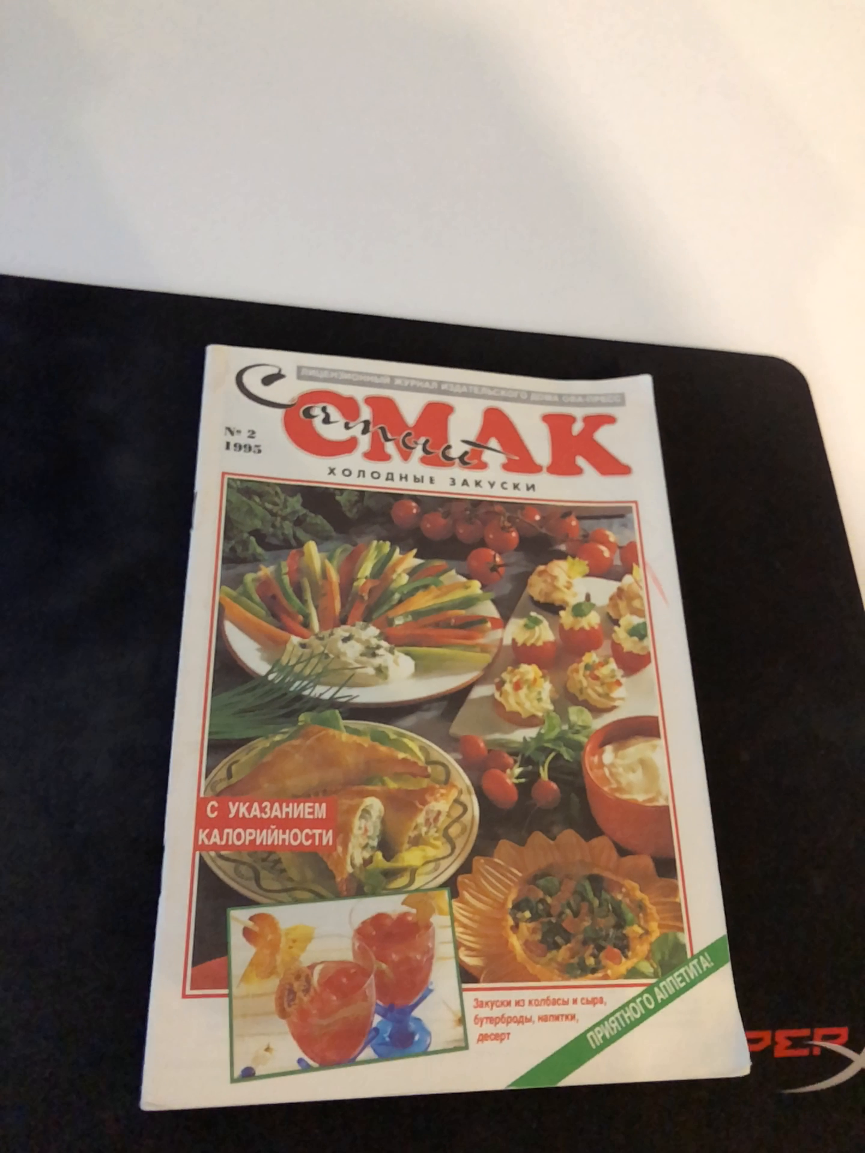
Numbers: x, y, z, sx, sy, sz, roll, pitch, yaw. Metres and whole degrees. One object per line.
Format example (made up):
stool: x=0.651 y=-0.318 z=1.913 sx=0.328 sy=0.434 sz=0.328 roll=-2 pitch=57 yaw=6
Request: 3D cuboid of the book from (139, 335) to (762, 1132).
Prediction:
book: x=0.005 y=0.031 z=0.292 sx=0.160 sy=0.010 sz=0.231 roll=3 pitch=65 yaw=-11
